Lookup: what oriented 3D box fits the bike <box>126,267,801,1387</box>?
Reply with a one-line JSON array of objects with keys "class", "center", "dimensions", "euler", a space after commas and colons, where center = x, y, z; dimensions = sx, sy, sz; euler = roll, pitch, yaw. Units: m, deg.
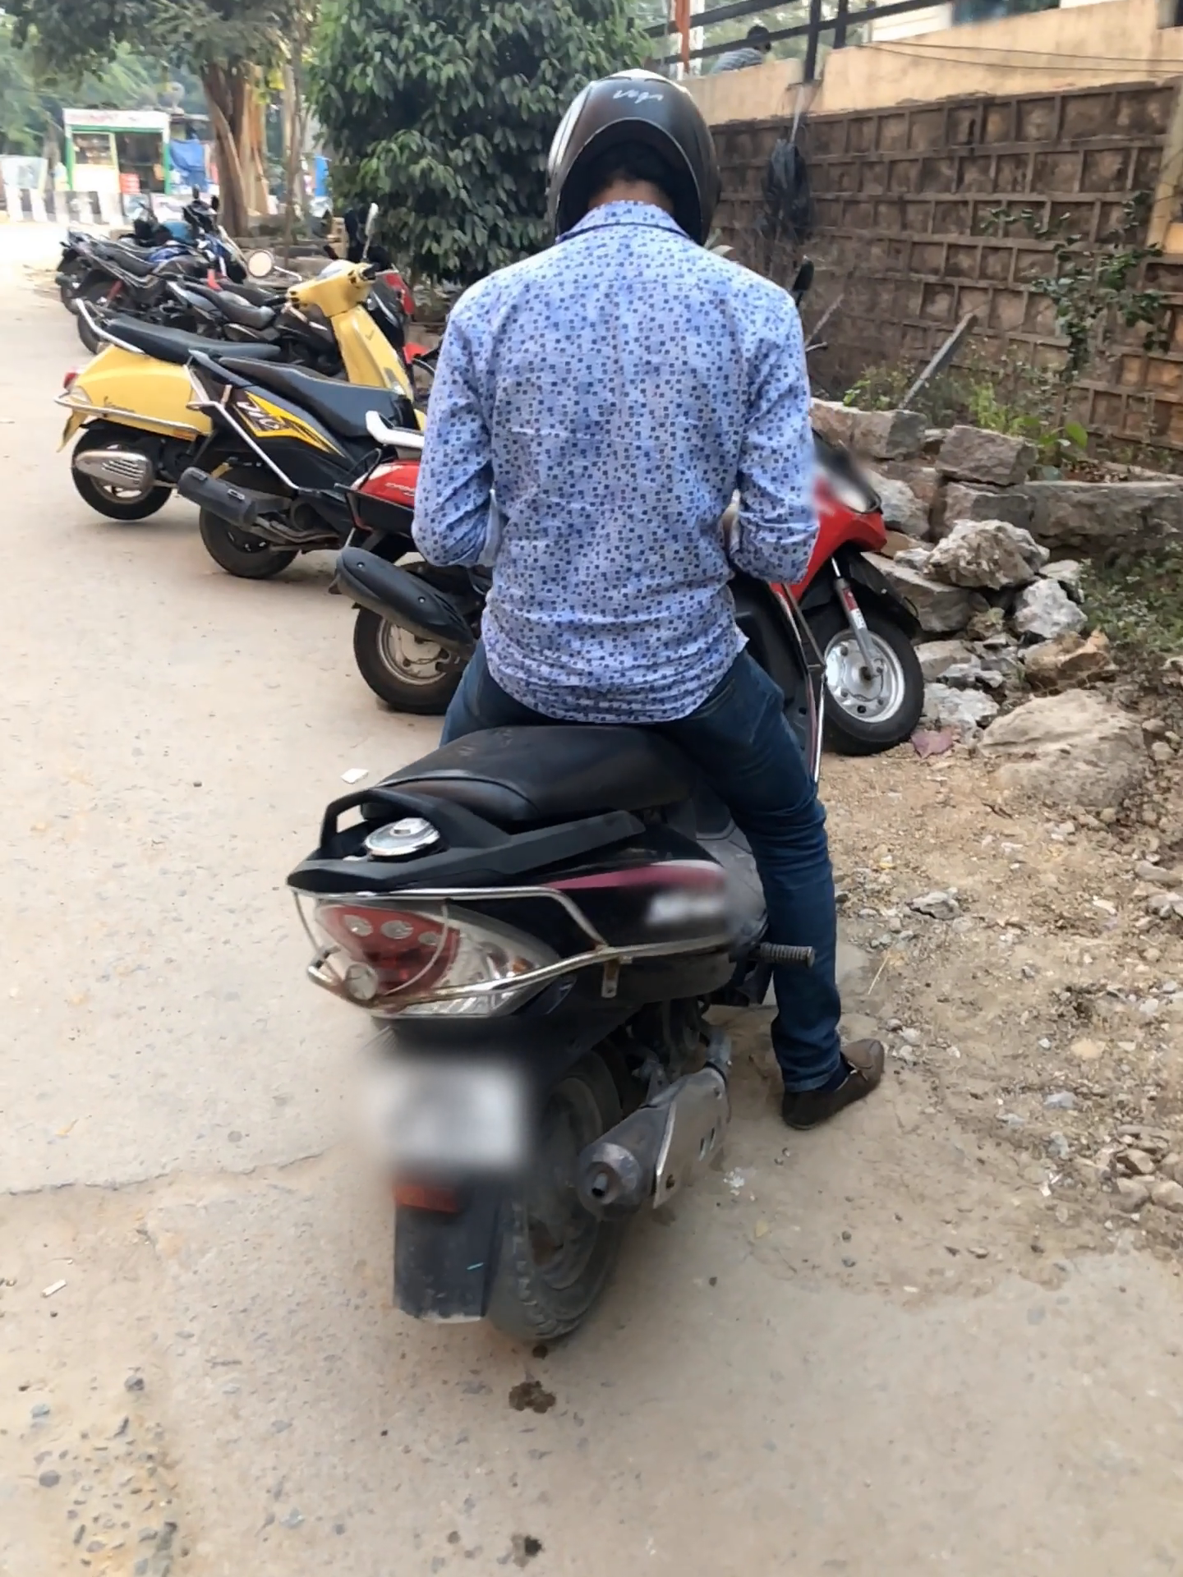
[{"class": "bike", "center": [-0.065, -0.156, 2.080], "dimensions": [0.559, 1.054, 1.482], "euler": [8, 27, 11]}]
